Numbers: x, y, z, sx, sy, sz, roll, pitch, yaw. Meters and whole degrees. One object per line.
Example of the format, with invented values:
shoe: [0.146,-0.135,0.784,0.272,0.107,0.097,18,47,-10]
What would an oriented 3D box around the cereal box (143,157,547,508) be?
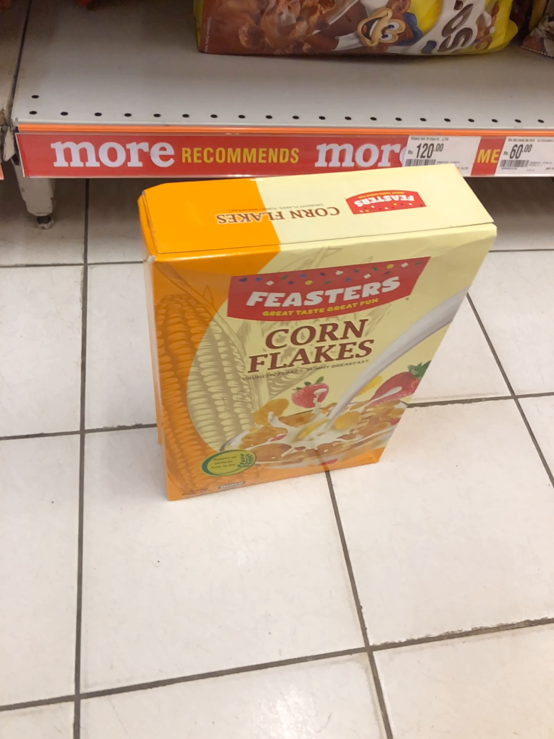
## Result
cereal box: [0.022,-0.007,0.397,0.190,0.248,0.060,-8,55,-13]
